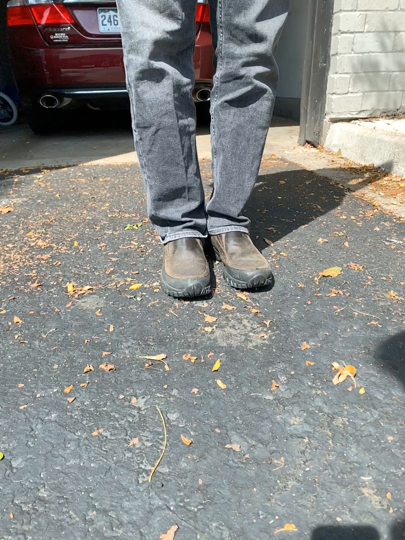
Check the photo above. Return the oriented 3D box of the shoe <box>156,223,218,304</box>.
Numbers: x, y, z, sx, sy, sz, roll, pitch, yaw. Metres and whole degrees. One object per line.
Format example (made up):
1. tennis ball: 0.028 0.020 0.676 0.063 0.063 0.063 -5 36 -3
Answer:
1. shoe: -0.045 -0.026 0.973 0.110 0.070 0.291 -4 25 -7

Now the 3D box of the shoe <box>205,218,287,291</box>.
1. shoe: 0.092 -0.048 0.997 0.110 0.070 0.291 -6 23 -11
